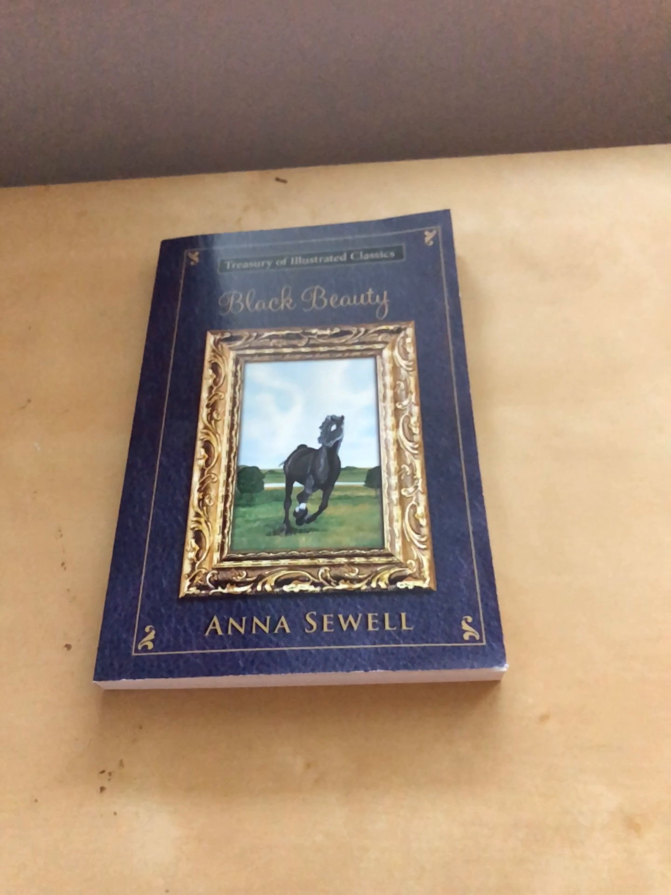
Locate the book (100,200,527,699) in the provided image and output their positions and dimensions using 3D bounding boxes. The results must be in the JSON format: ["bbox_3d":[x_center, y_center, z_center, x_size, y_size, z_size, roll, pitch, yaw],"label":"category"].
[{"bbox_3d":[-0.007,-0.010,0.279,0.126,0.025,0.193,-3,59,5],"label":"book"}]
